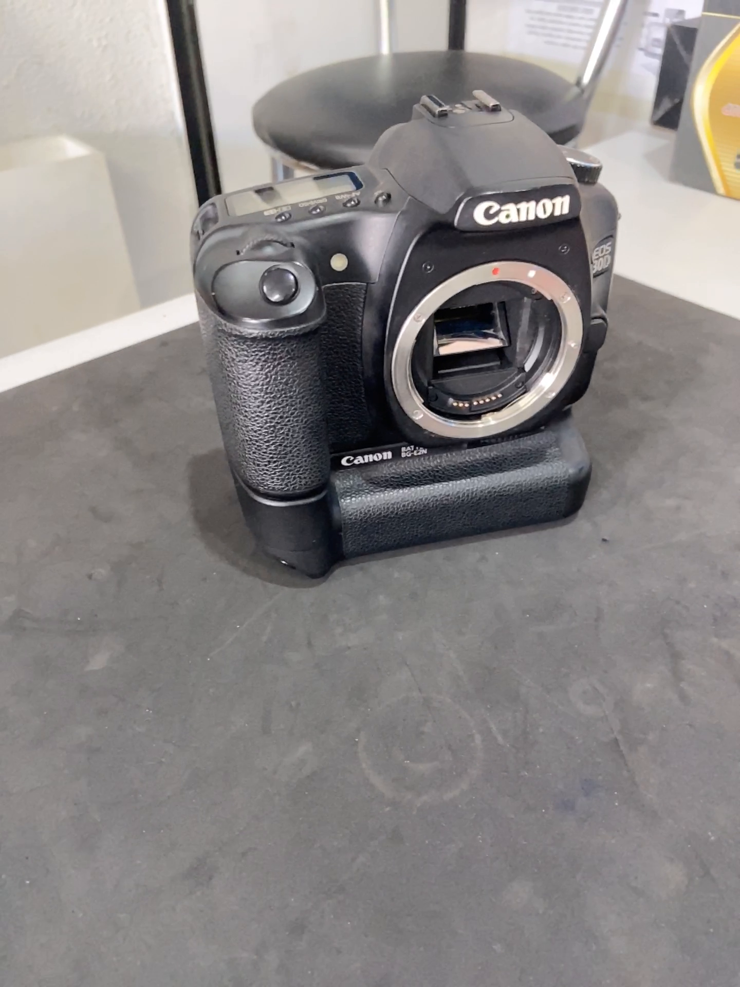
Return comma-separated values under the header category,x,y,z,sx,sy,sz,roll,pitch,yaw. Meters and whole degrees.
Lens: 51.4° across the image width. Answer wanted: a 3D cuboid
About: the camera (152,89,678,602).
category,x,y,z,sx,sy,sz,roll,pitch,yaw
camera,0.009,-0.051,0.273,0.140,0.139,0.080,-10,40,-8
